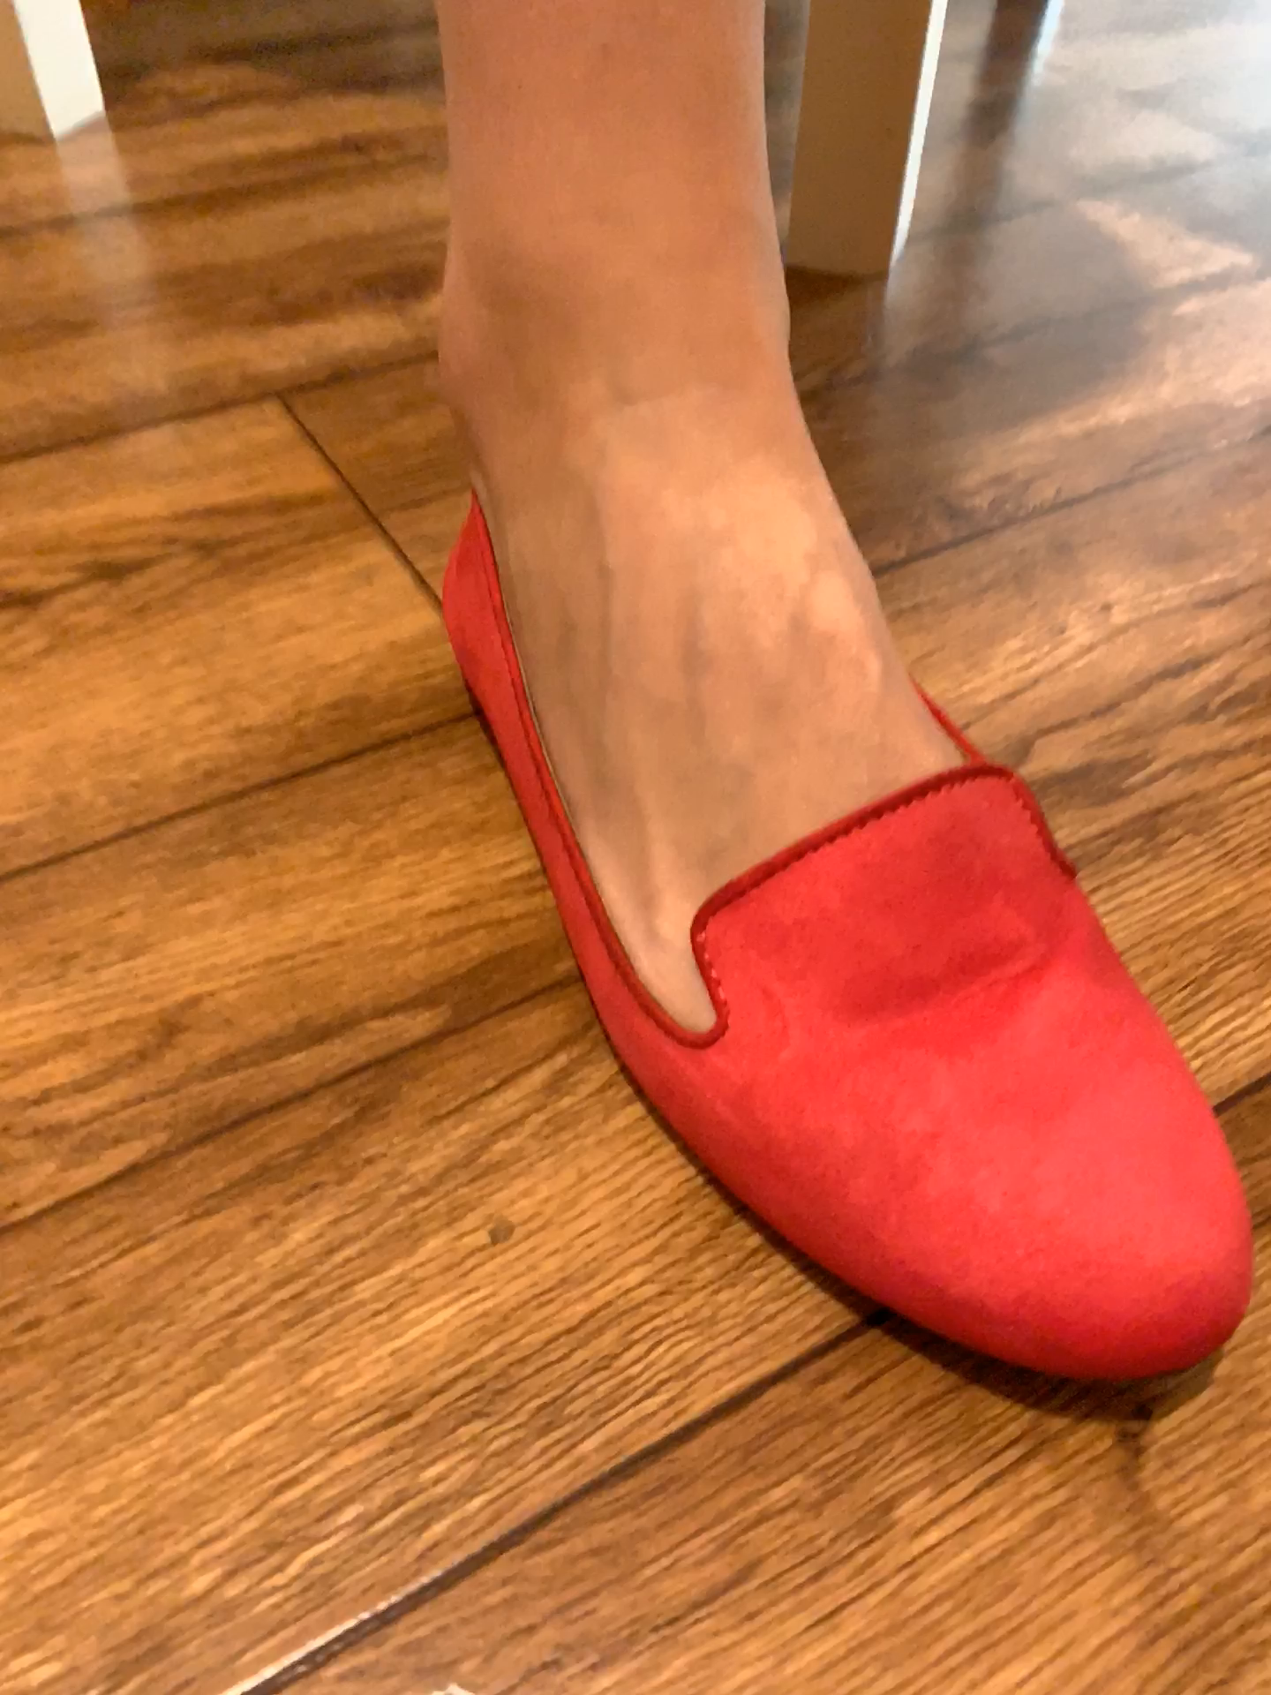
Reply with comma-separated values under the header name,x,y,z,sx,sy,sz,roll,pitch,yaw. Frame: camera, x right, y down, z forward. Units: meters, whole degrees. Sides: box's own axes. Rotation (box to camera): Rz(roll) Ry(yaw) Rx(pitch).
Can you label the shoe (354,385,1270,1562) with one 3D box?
name,x,y,z,sx,sy,sz,roll,pitch,yaw
shoe,0.025,-0.003,0.251,0.086,0.060,0.221,-19,50,-18
